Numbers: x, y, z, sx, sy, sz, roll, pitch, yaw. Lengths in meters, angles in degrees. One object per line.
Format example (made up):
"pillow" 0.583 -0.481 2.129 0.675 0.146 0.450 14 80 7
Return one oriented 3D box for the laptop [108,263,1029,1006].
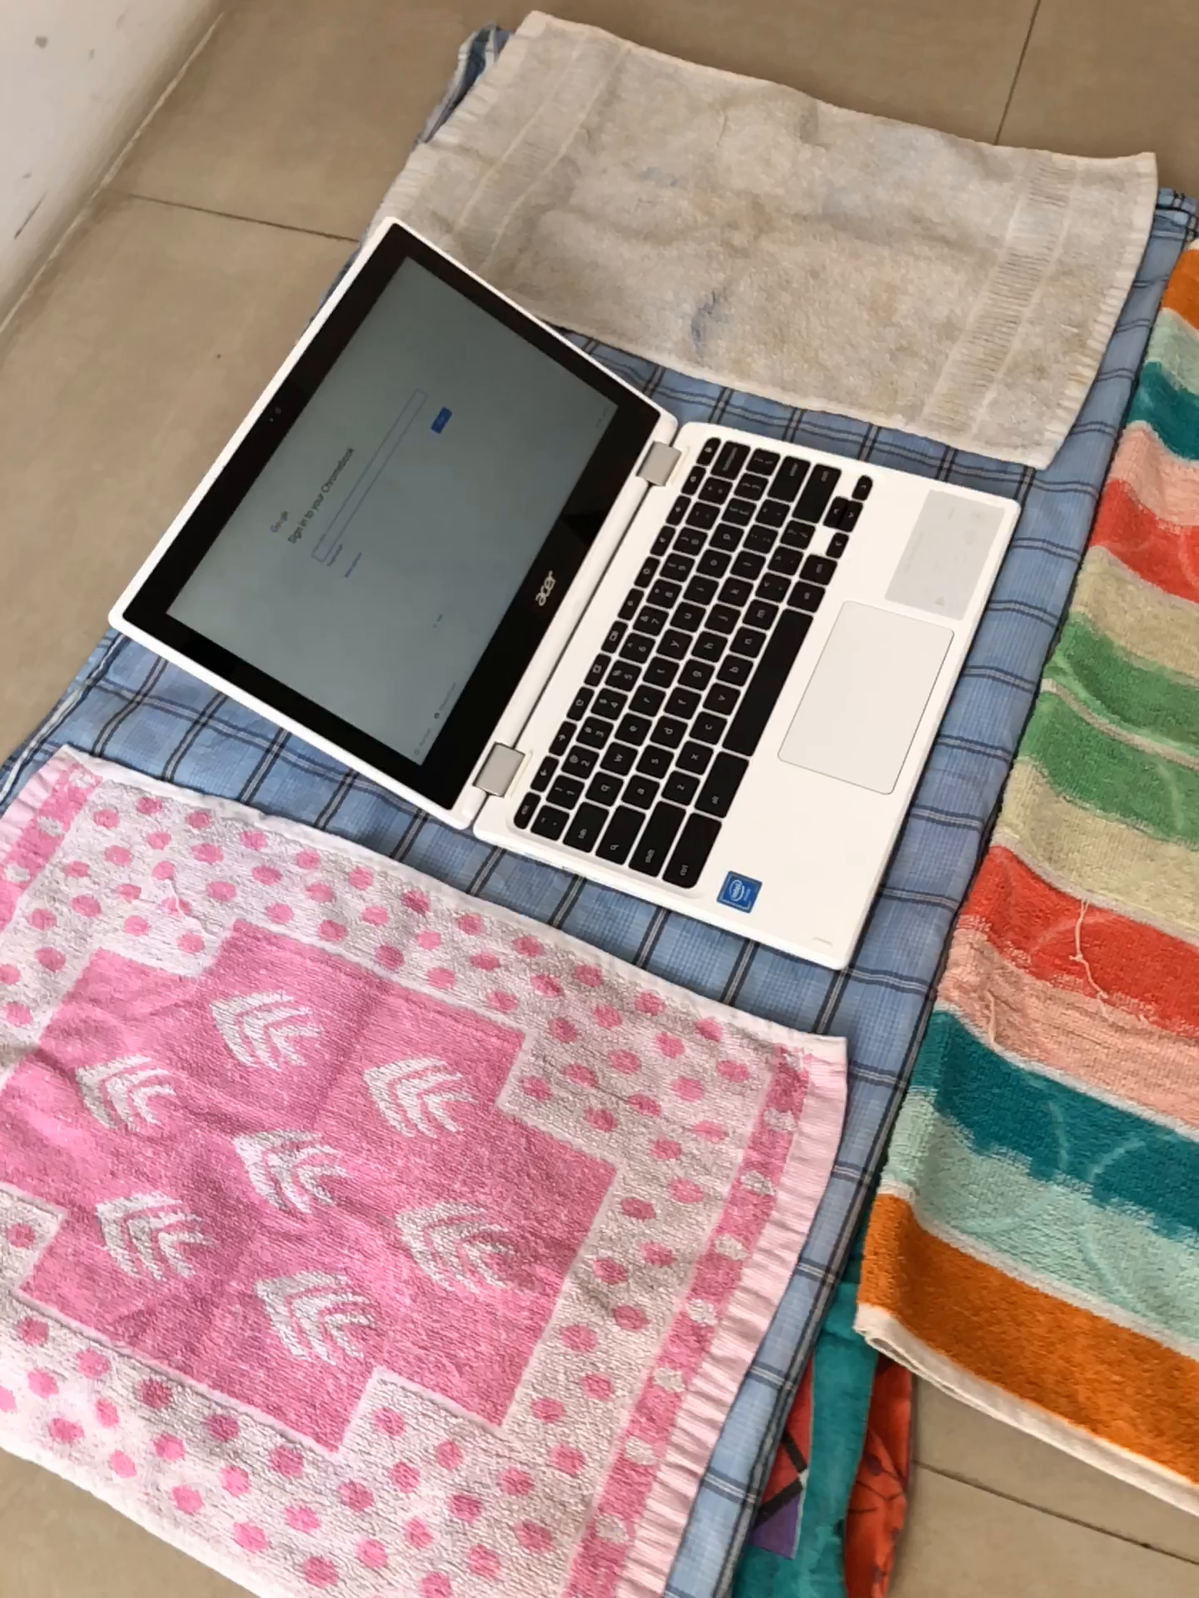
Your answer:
"laptop" -0.011 -0.103 0.681 0.367 0.101 0.286 19 66 17
